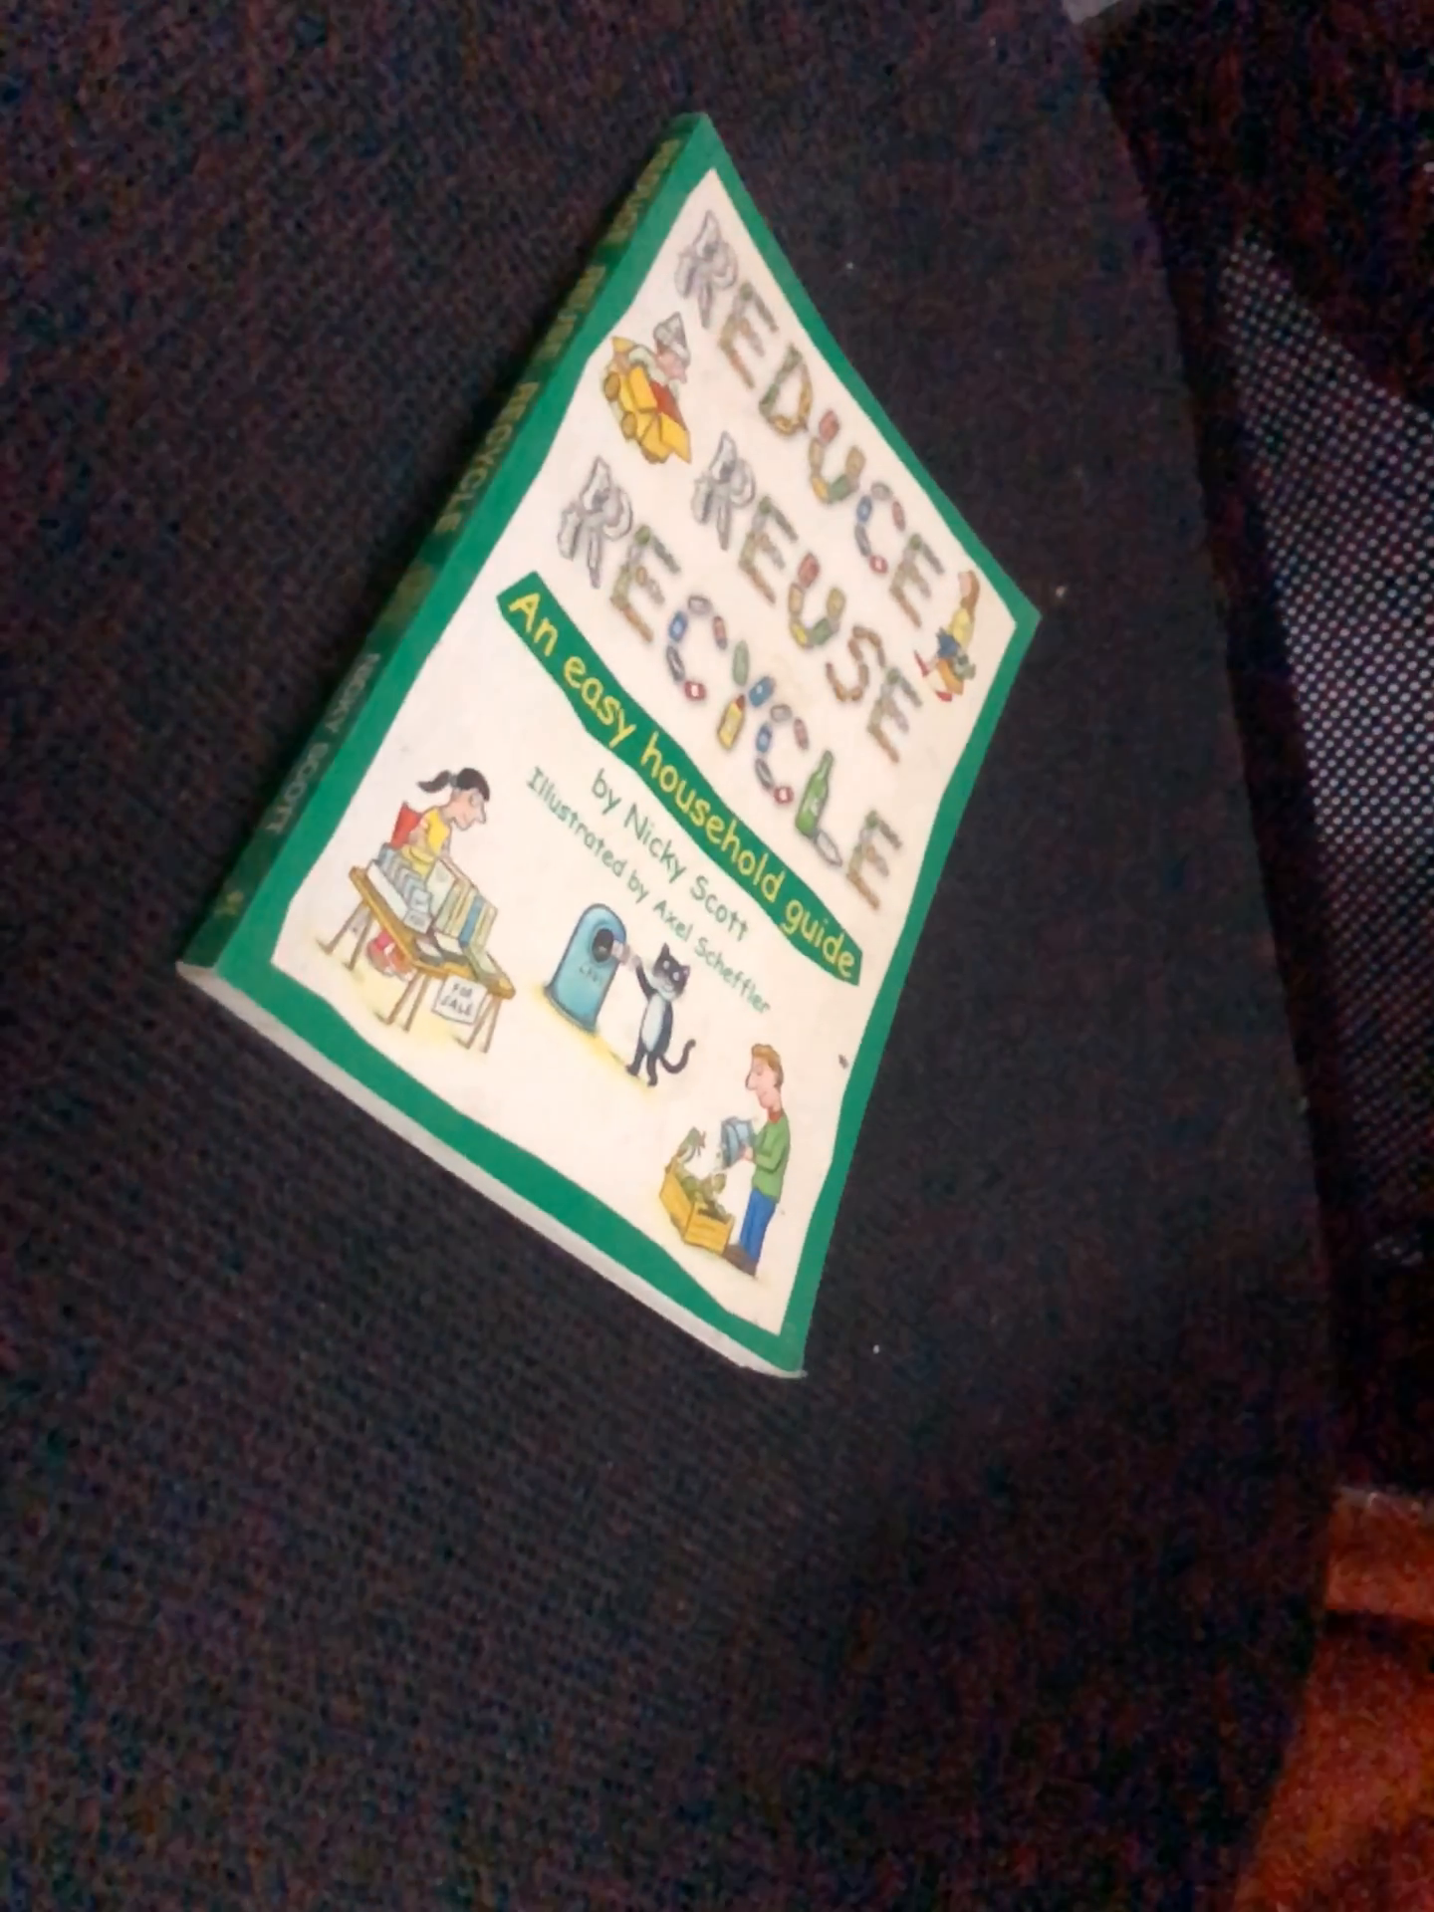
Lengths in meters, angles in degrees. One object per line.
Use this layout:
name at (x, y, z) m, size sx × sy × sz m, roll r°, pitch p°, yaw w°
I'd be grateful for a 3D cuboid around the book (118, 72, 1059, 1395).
book at (0.000, -0.036, 0.266) m, size 0.131 × 0.018 × 0.174 m, roll 44°, pitch 55°, yaw -37°
